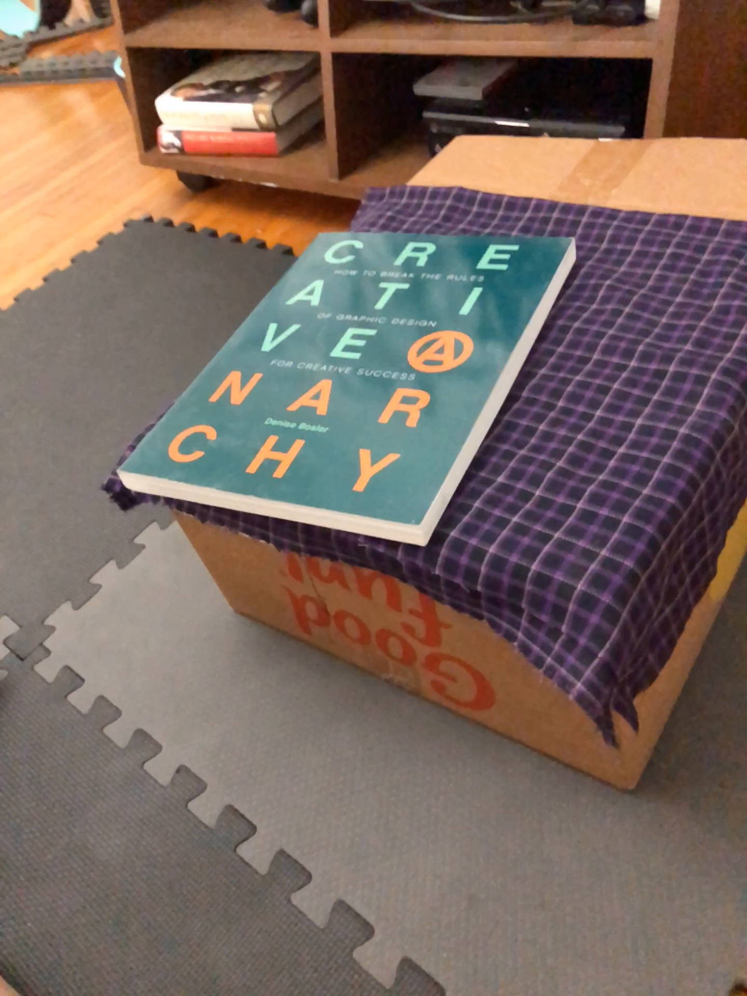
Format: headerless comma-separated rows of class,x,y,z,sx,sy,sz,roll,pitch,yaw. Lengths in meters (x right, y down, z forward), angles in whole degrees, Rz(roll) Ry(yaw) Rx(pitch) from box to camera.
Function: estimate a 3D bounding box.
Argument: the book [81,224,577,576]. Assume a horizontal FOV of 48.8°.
book,-0.016,-0.092,0.541,0.220,0.020,0.301,9,50,27
